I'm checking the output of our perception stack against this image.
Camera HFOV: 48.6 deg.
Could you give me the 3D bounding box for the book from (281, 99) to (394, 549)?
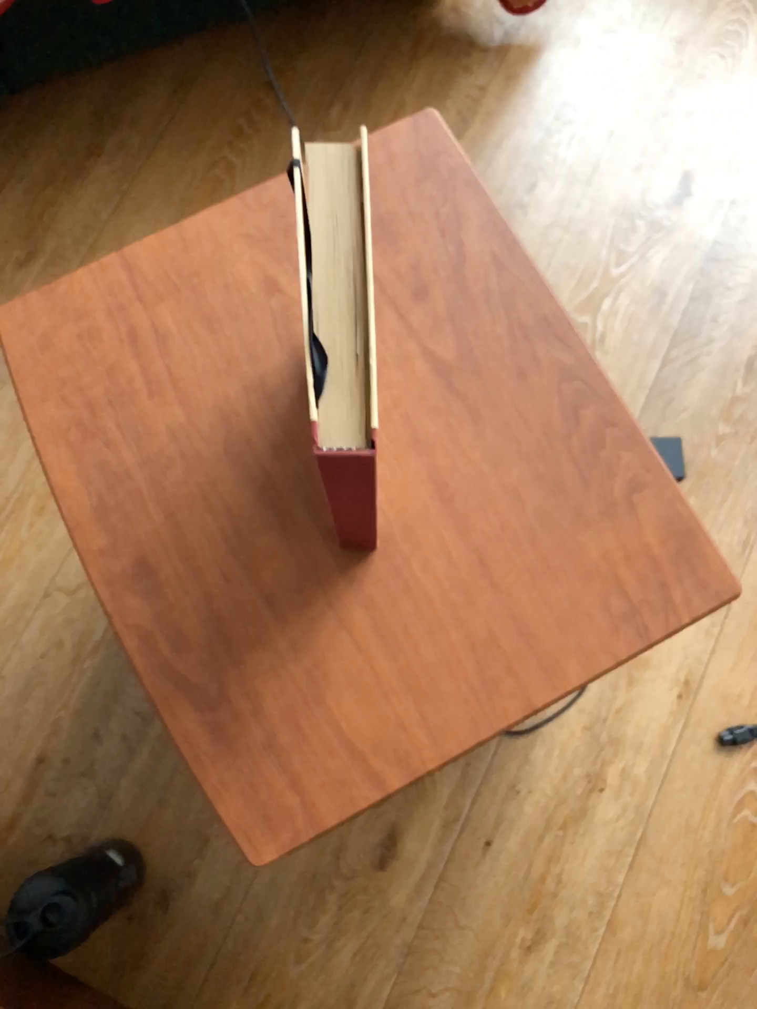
[{"bbox_3d":[-0.018,-0.075,0.448,0.041,0.204,0.162,-3,77,0],"label":"book"}]
